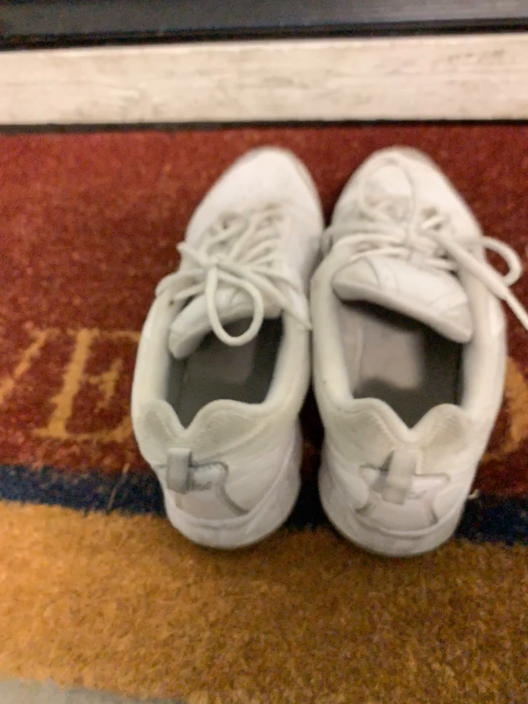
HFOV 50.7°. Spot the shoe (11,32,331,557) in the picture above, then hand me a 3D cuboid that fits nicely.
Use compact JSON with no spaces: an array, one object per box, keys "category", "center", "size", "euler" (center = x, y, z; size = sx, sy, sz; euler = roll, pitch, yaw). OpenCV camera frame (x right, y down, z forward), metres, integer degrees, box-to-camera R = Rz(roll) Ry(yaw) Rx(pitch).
[{"category":"shoe","center":[-0.023,-0.048,0.347],"size":[0.110,0.129,0.302],"euler":[3,59,9]}]

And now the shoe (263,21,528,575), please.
[{"category":"shoe","center":[0.083,-0.045,0.331],"size":[0.120,0.129,0.302],"euler":[3,59,9]}]
